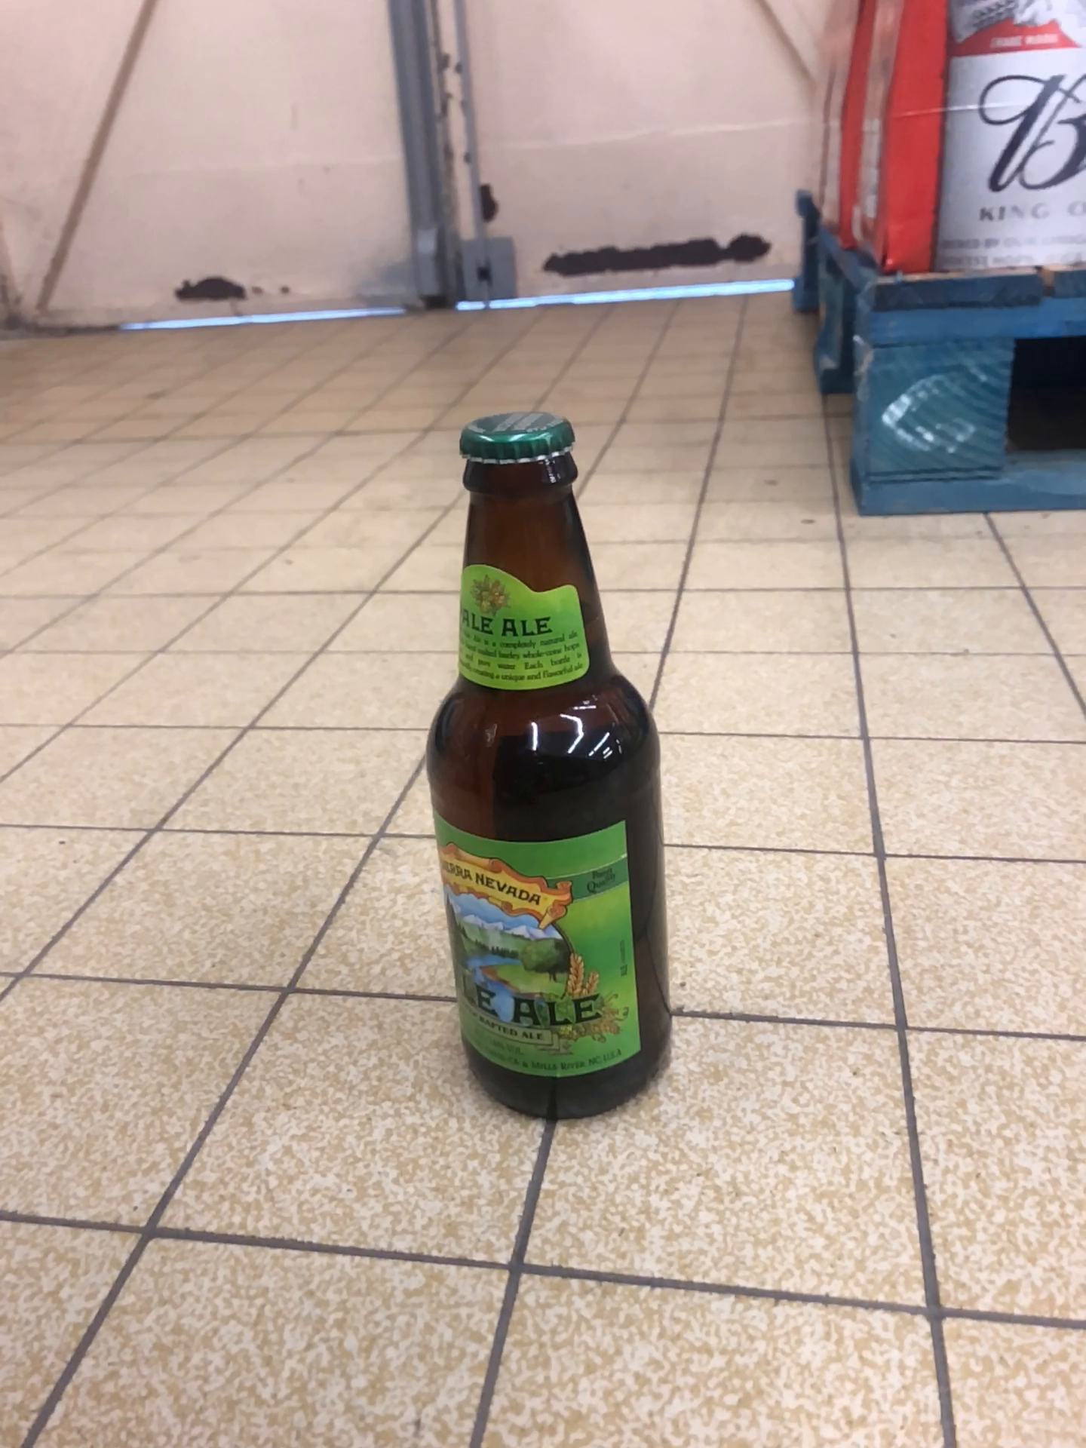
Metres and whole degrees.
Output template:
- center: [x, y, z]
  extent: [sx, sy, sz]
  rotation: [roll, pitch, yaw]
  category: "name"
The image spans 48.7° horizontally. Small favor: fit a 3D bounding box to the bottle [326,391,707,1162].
- center: [0.001, 0.013, 0.325]
  extent: [0.060, 0.189, 0.070]
  rotation: [10, 28, 29]
  category: "bottle"
